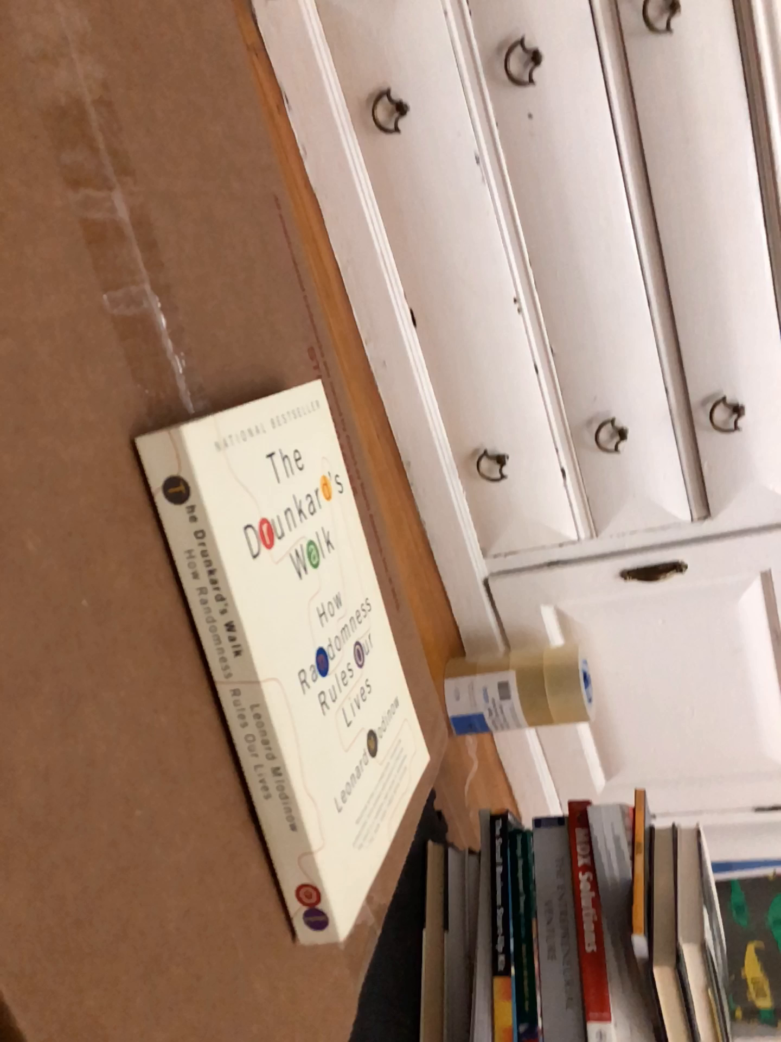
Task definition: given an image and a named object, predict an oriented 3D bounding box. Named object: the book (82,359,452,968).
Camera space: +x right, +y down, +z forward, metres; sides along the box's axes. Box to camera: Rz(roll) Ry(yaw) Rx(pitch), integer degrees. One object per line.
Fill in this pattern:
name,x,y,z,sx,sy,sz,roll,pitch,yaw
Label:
book,-0.035,0.047,0.360,0.141,0.040,0.210,-44,121,-66
